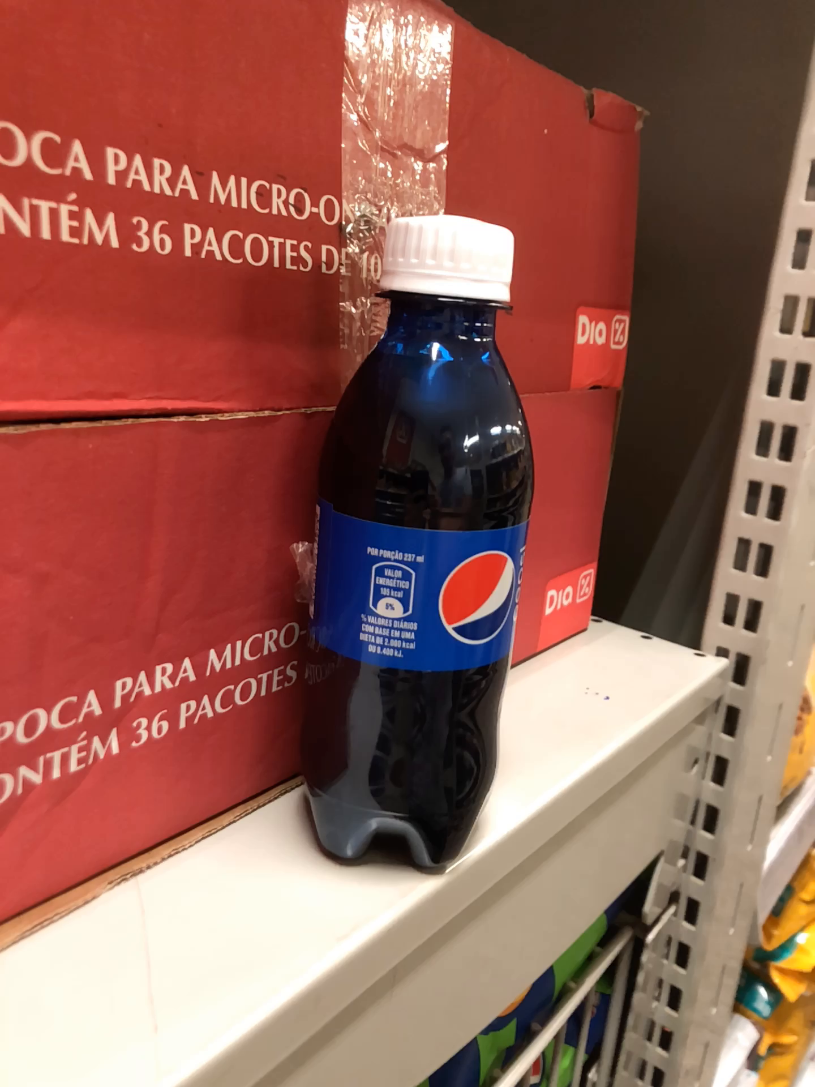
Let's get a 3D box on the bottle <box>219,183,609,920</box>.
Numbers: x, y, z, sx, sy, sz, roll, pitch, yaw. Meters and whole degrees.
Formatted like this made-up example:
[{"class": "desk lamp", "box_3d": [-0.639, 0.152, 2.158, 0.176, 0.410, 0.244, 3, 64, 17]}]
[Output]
[{"class": "bottle", "box_3d": [-0.001, -0.003, 0.215, 0.060, 0.149, 0.060, 3, 17, -1]}]
